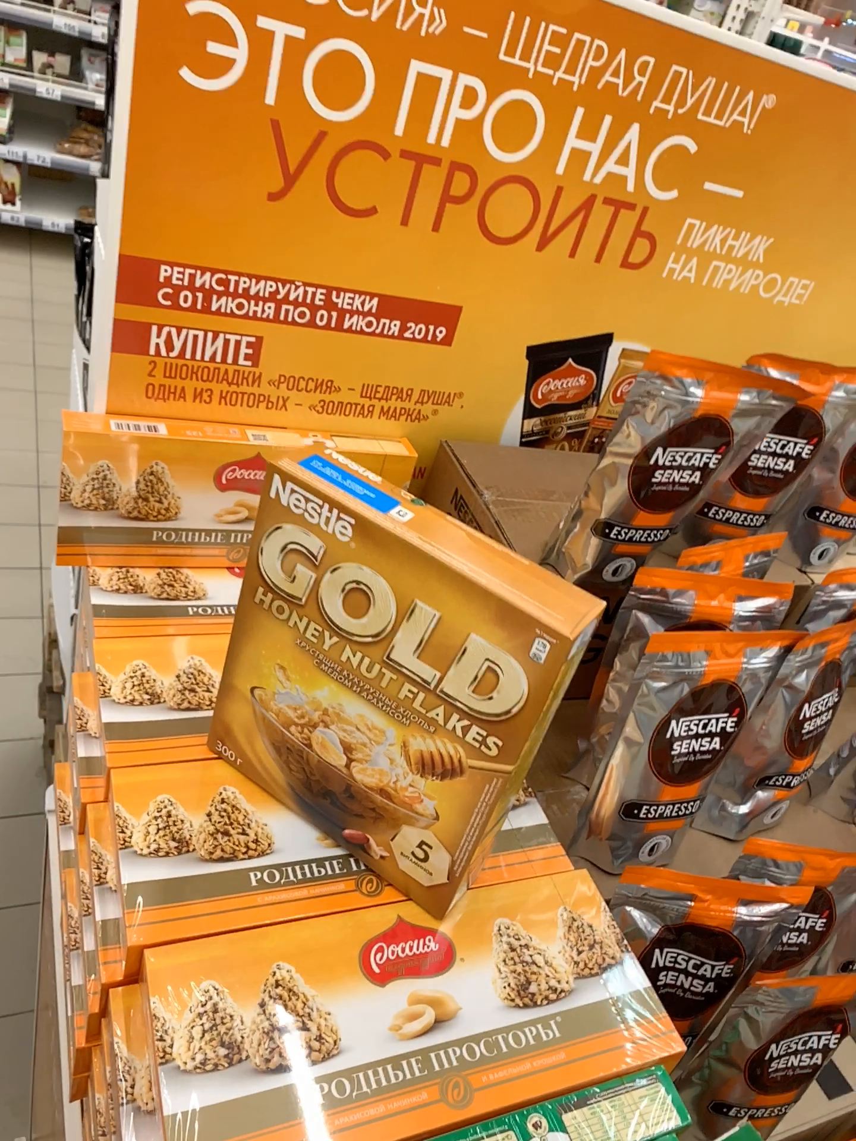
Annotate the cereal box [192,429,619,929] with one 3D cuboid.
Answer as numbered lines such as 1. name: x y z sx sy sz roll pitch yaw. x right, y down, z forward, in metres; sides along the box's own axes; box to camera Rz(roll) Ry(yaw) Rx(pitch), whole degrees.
1. cereal box: -0.029 0.065 0.515 0.200 0.219 0.060 30 35 18
